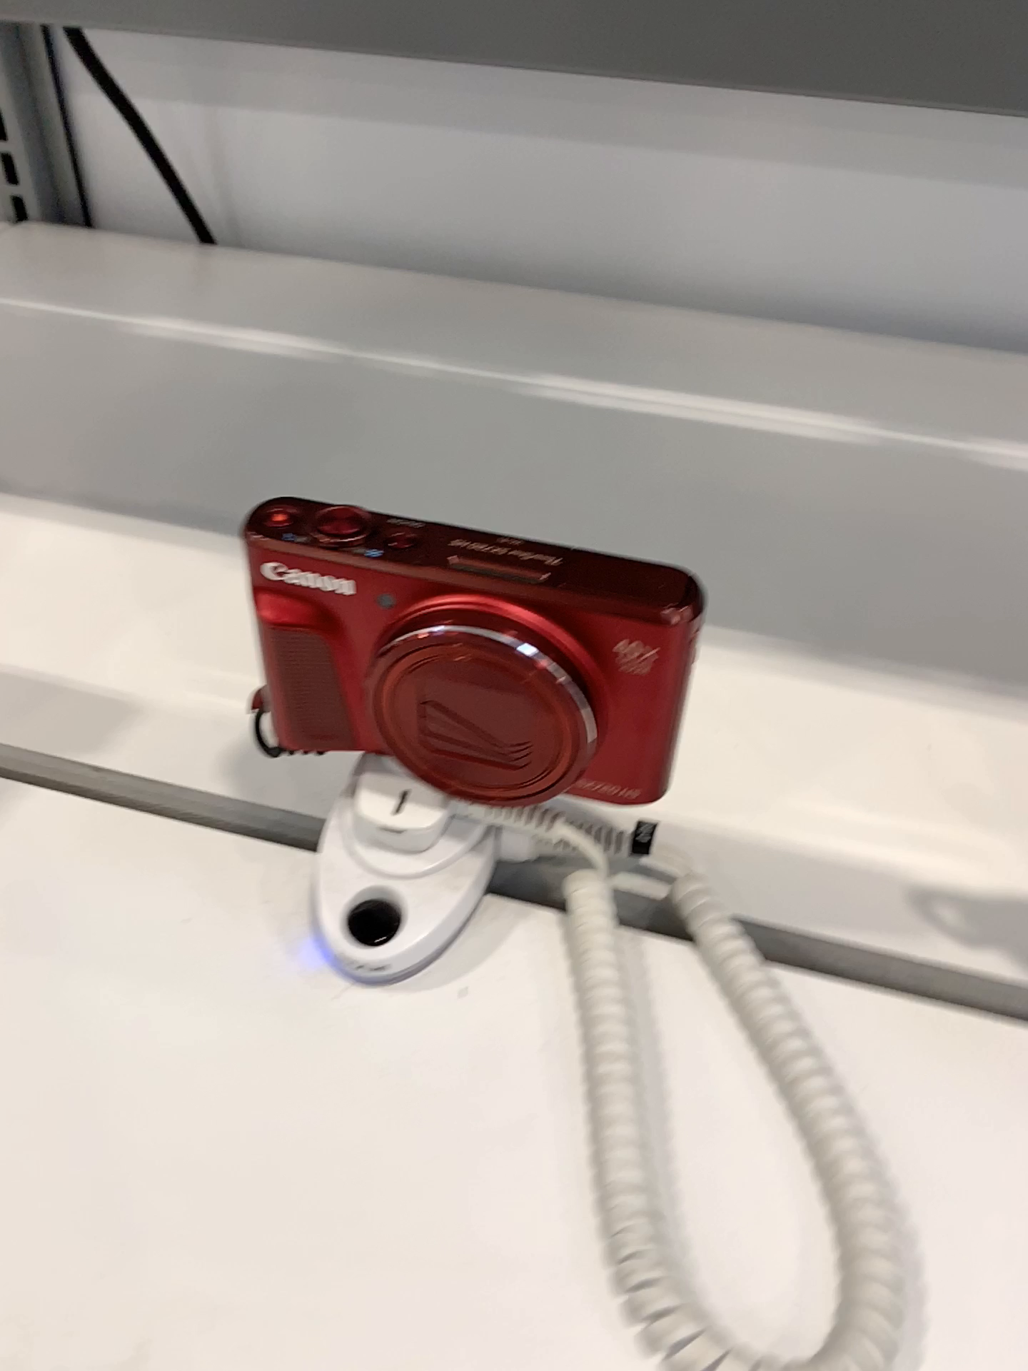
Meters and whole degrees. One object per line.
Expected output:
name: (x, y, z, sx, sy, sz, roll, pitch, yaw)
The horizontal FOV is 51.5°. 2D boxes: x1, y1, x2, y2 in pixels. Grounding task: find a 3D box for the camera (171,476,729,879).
camera: (-0.014, -0.002, 0.265, 0.120, 0.070, 0.040, 11, 42, 10)
